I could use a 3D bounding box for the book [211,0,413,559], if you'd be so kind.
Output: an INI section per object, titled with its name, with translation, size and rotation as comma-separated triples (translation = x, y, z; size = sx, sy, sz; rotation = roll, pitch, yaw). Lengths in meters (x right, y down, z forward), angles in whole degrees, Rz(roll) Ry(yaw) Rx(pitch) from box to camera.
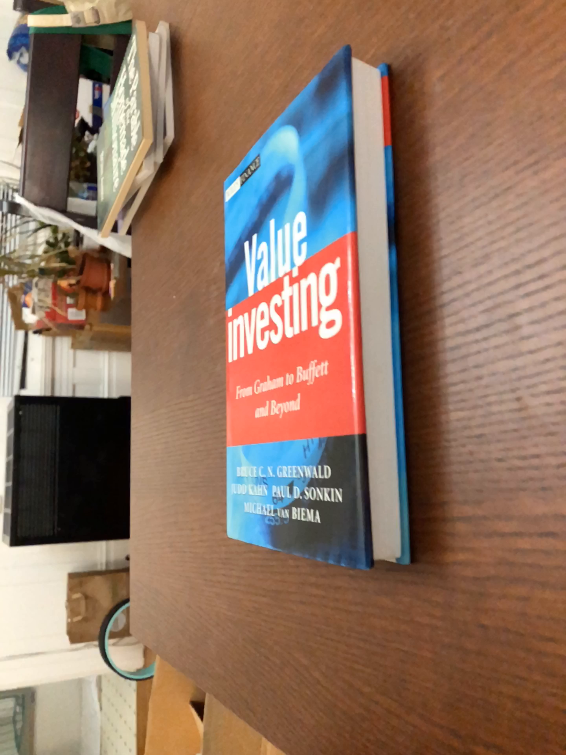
[book]
translation = 0.001, -0.036, 0.327
size = 0.171, 0.020, 0.230
rotation = -15, 74, 62
